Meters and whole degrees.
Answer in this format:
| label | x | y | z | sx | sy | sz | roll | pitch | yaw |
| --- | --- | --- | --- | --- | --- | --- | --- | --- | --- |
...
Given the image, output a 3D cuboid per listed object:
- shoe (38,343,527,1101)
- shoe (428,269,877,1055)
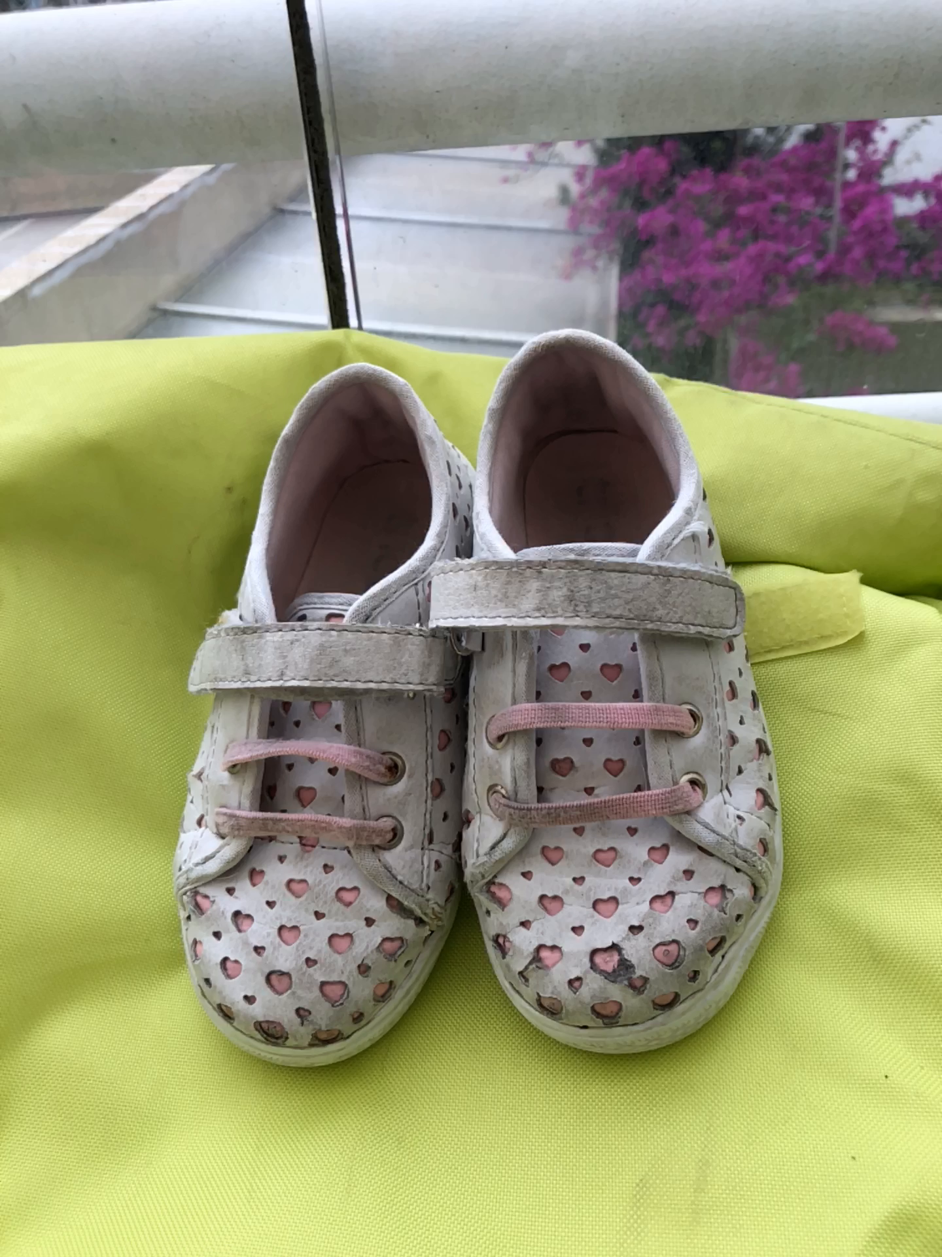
| label | x | y | z | sx | sy | sz | roll | pitch | yaw |
| --- | --- | --- | --- | --- | --- | --- | --- | --- | --- |
| shoe | -0.039 | 0.018 | 0.275 | 0.080 | 0.060 | 0.176 | 4 | 73 | 13 |
| shoe | 0.036 | 0.006 | 0.251 | 0.080 | 0.060 | 0.177 | -1 | 67 | 5 |
